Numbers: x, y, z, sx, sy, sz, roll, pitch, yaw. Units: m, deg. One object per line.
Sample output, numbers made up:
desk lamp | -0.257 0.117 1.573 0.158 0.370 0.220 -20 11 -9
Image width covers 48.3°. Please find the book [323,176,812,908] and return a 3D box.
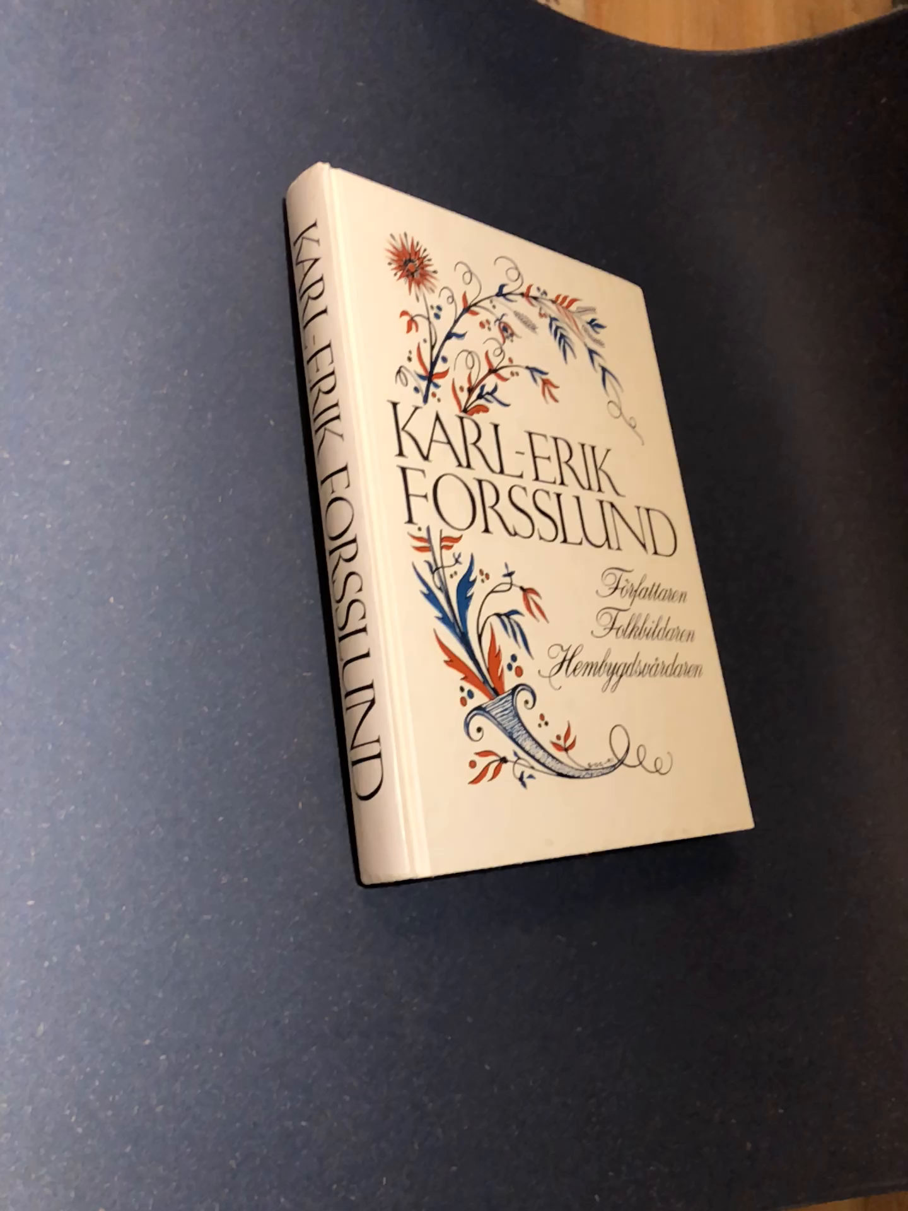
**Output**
book | 0.044 -0.023 0.366 0.164 0.028 0.232 3 71 -39
